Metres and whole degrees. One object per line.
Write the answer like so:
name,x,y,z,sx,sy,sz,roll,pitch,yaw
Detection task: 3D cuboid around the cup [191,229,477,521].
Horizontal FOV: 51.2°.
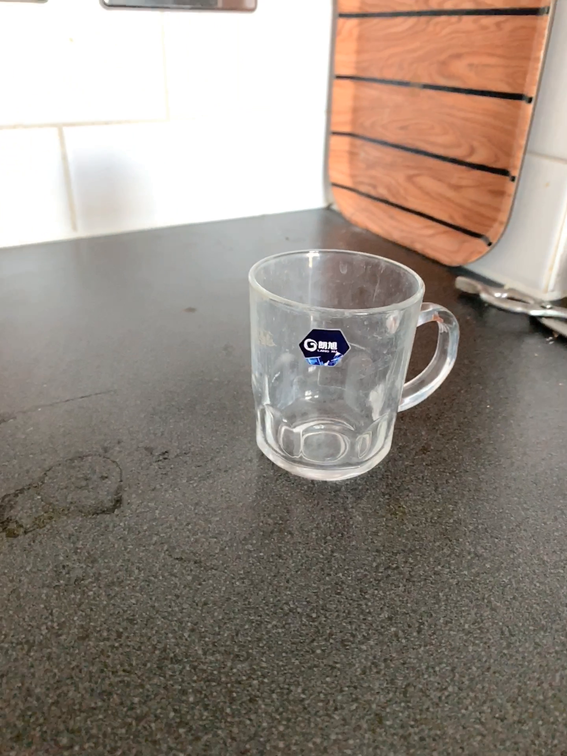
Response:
cup,0.021,-0.008,0.275,0.100,0.090,0.071,-19,36,-32
